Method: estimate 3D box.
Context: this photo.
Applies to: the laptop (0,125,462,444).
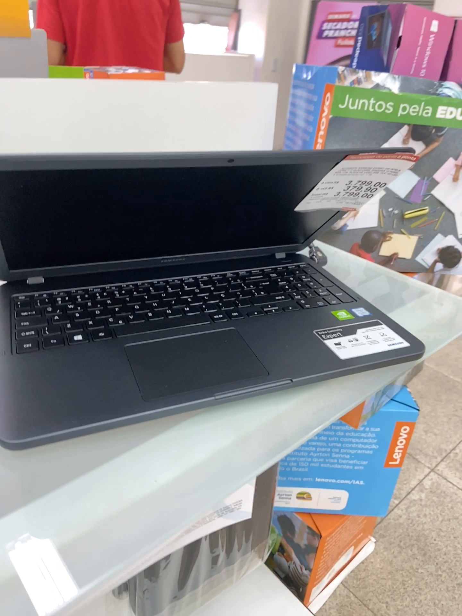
[{"bbox_3d":[-0.023,-0.061,0.433,0.358,0.158,0.232,-8,31,-23],"label":"laptop"}]
